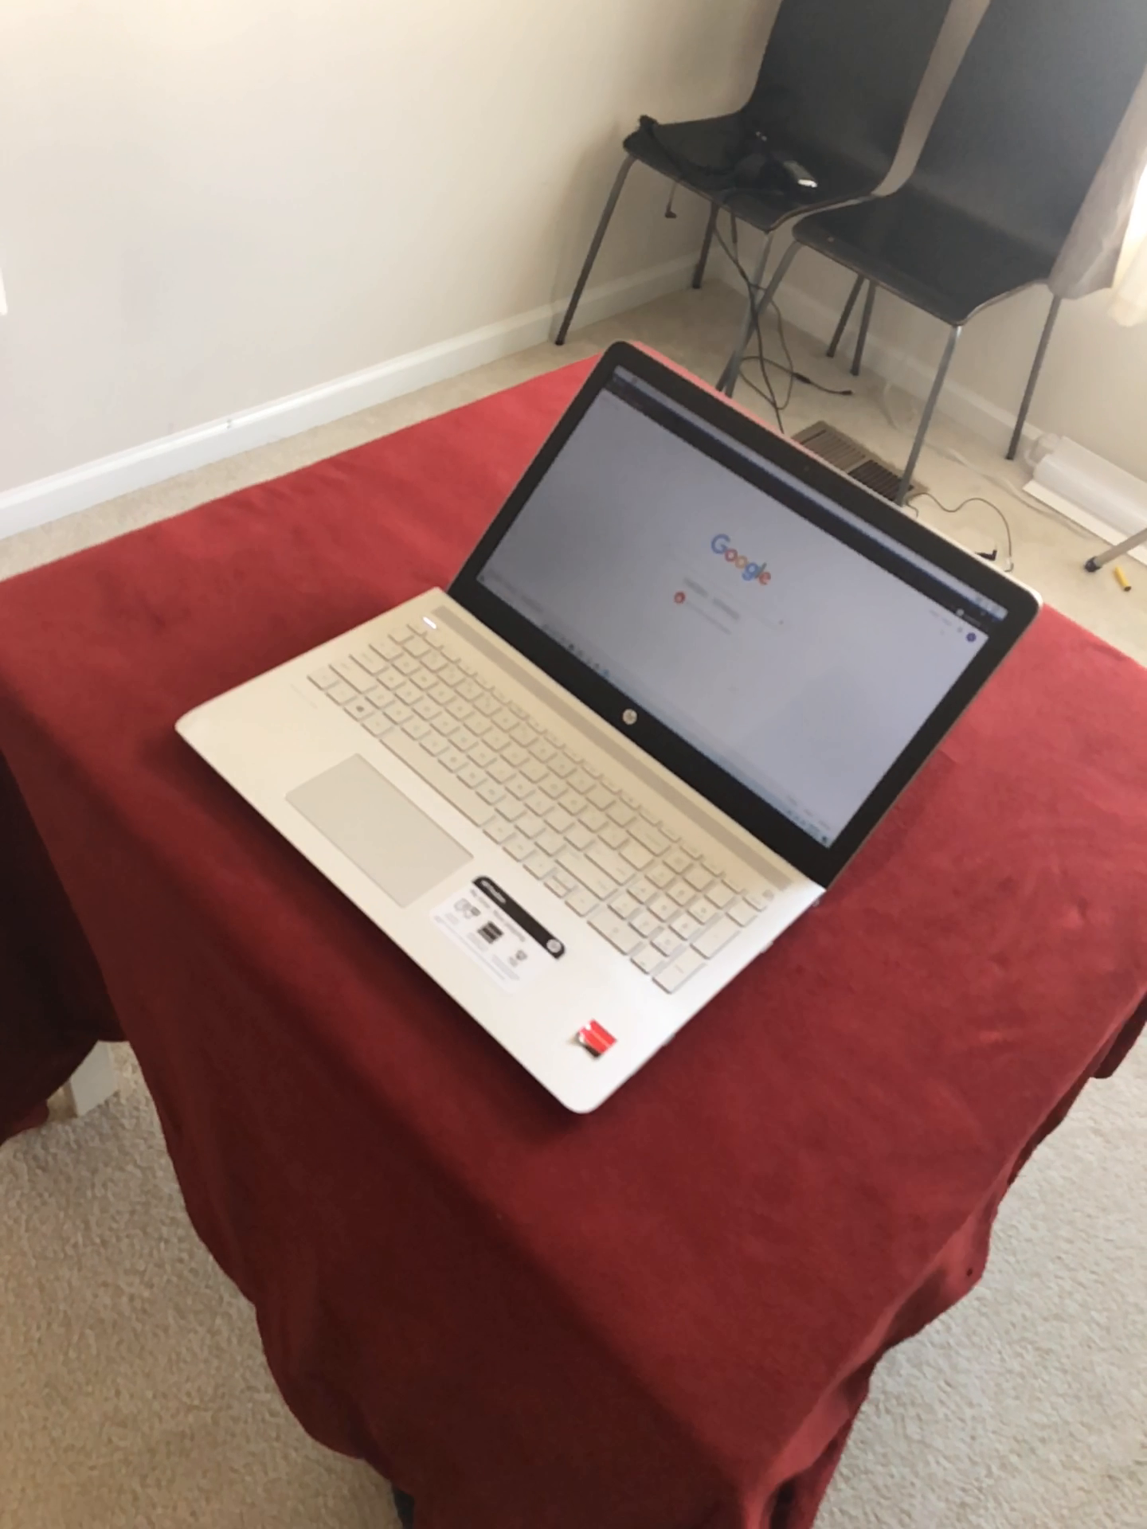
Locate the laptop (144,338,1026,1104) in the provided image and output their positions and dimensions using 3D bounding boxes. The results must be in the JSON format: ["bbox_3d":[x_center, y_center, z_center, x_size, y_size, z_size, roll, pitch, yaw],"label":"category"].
[{"bbox_3d":[0.010,-0.066,0.804,0.360,0.158,0.396,39,51,22],"label":"laptop"}]
